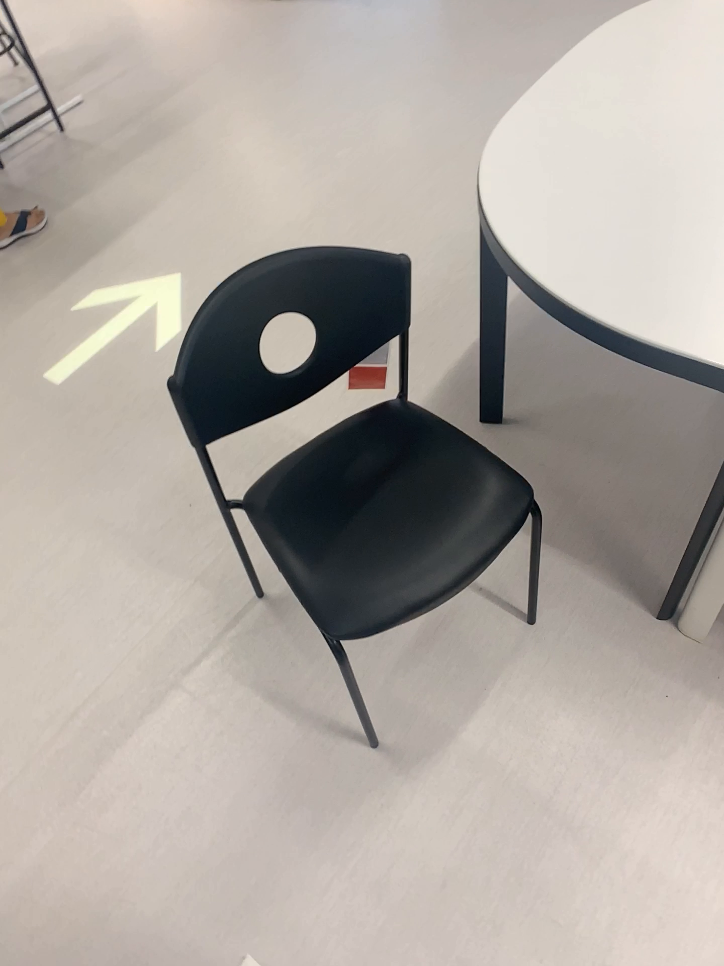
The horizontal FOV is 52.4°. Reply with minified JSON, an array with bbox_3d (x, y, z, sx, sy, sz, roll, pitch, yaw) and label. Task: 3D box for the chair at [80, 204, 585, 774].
[{"bbox_3d":[-0.027,0.031,1.374,0.510,0.737,0.582,-34,55,-17],"label":"chair"}]
